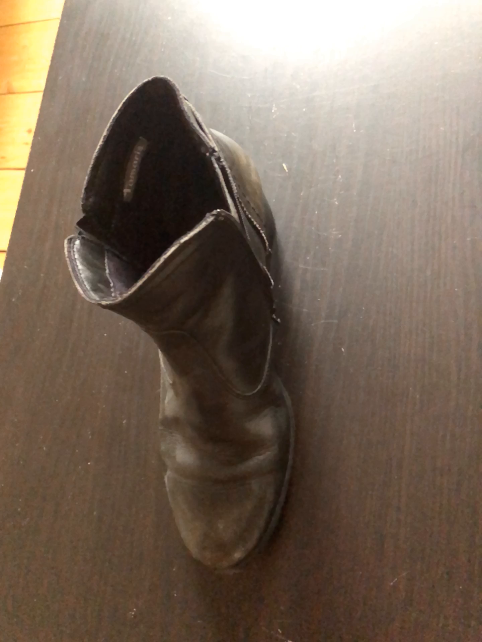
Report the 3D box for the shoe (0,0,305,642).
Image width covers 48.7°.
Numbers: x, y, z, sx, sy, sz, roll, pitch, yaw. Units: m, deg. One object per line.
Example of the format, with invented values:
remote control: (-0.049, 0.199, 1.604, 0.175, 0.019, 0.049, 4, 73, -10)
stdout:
shoe: (-0.031, 0.008, 0.296, 0.090, 0.170, 0.270, -1, 77, 19)
